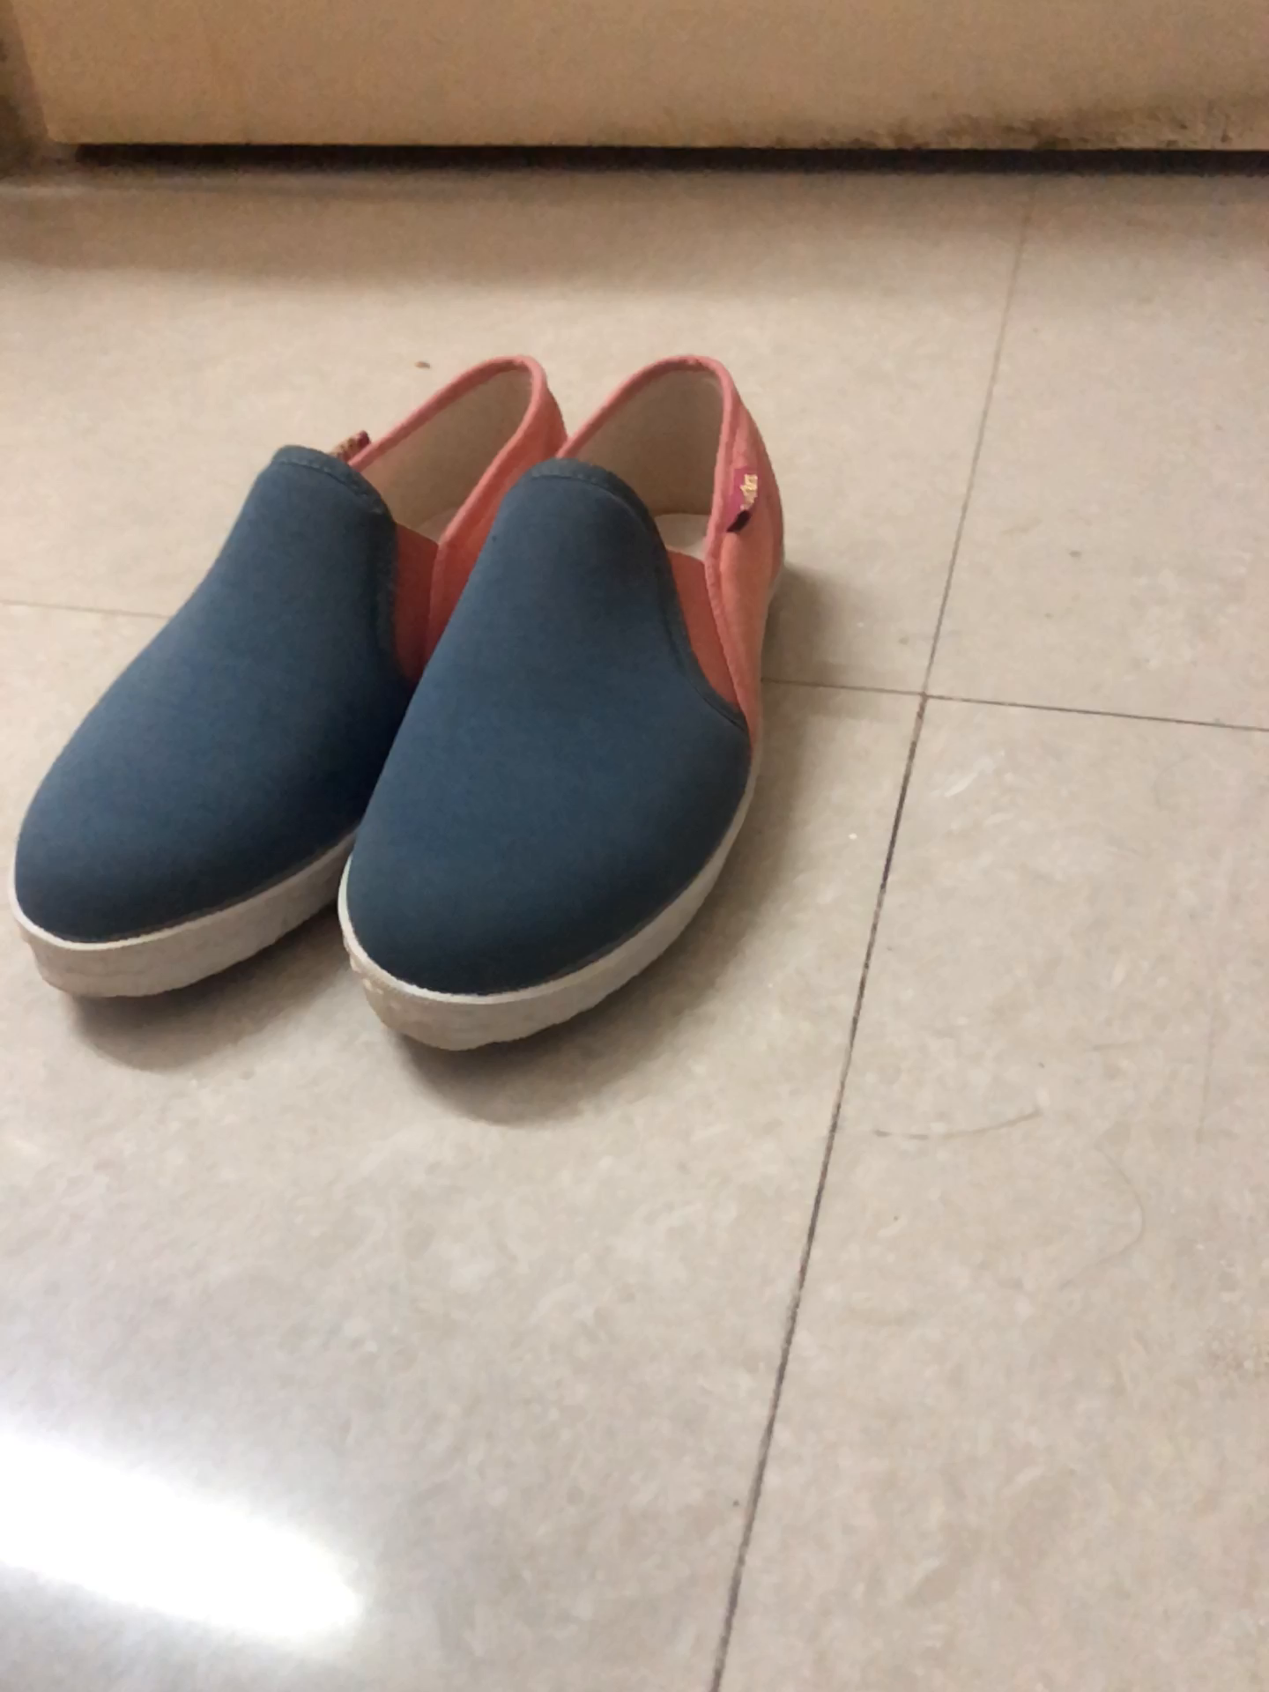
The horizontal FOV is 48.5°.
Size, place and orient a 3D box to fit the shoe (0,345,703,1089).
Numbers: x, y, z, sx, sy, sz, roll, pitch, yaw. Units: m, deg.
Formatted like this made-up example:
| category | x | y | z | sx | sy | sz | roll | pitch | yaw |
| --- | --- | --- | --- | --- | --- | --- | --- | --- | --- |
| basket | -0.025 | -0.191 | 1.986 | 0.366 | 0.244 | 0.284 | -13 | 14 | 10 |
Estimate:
| category | x | y | z | sx | sy | sz | roll | pitch | yaw |
| --- | --- | --- | --- | --- | --- | --- | --- | --- | --- |
| shoe | -0.061 | -0.051 | 0.351 | 0.090 | 0.060 | 0.221 | 11 | 42 | 17 |

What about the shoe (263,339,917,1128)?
| category | x | y | z | sx | sy | sz | roll | pitch | yaw |
| --- | --- | --- | --- | --- | --- | --- | --- | --- | --- |
| shoe | 0.009 | -0.047 | 0.329 | 0.090 | 0.060 | 0.222 | 6 | 41 | 13 |
